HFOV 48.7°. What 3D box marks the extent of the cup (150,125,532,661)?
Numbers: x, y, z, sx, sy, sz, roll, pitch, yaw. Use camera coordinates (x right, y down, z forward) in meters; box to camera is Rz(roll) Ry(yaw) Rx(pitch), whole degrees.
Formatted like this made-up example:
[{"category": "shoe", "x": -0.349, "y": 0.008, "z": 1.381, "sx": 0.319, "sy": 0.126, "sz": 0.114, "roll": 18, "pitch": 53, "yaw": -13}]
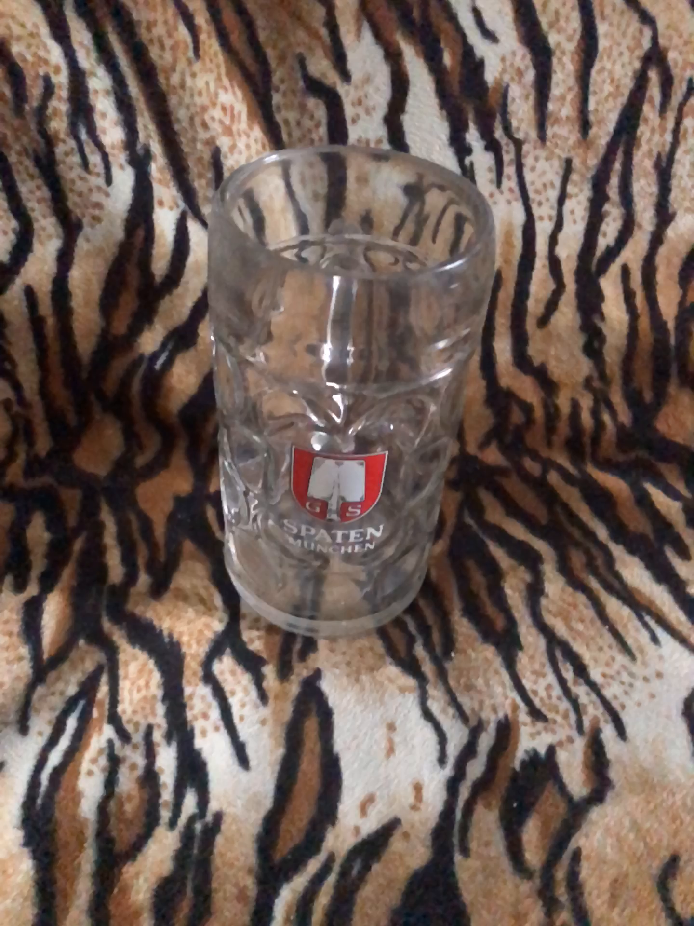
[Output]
[{"category": "cup", "x": 0.000, "y": -0.031, "z": 0.361, "sx": 0.120, "sy": 0.194, "sz": 0.150, "roll": 3, "pitch": 40, "yaw": 2}]
